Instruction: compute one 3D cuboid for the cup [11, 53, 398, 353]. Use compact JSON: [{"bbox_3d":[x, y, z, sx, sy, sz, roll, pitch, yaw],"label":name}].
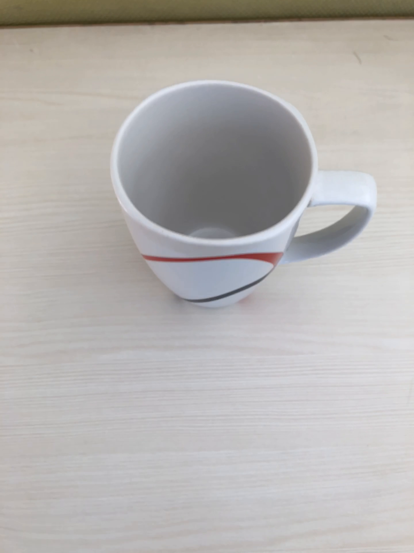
[{"bbox_3d":[0.004,-0.030,0.231,0.140,0.100,0.090,7,64,4],"label":"cup"}]
